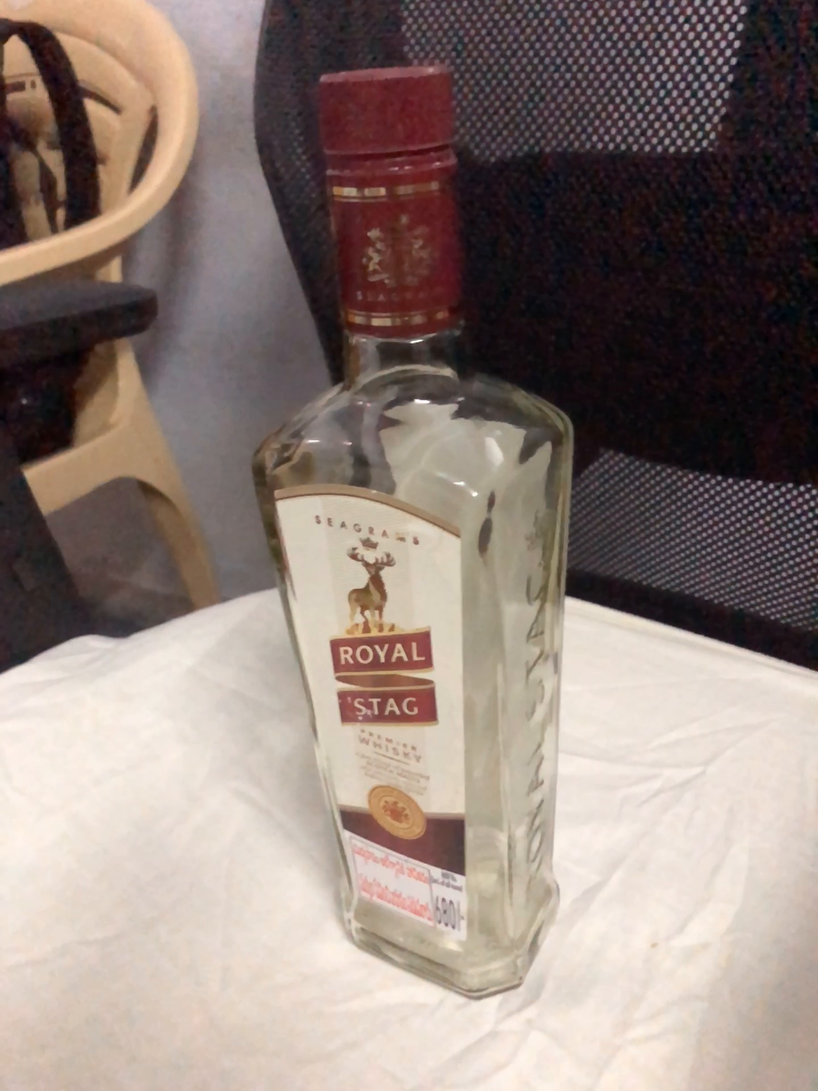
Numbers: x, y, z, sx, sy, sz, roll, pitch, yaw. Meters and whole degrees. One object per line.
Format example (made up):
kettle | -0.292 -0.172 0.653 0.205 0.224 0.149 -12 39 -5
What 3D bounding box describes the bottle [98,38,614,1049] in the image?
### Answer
bottle | -0.002 0.017 0.262 0.090 0.279 0.060 15 36 28
